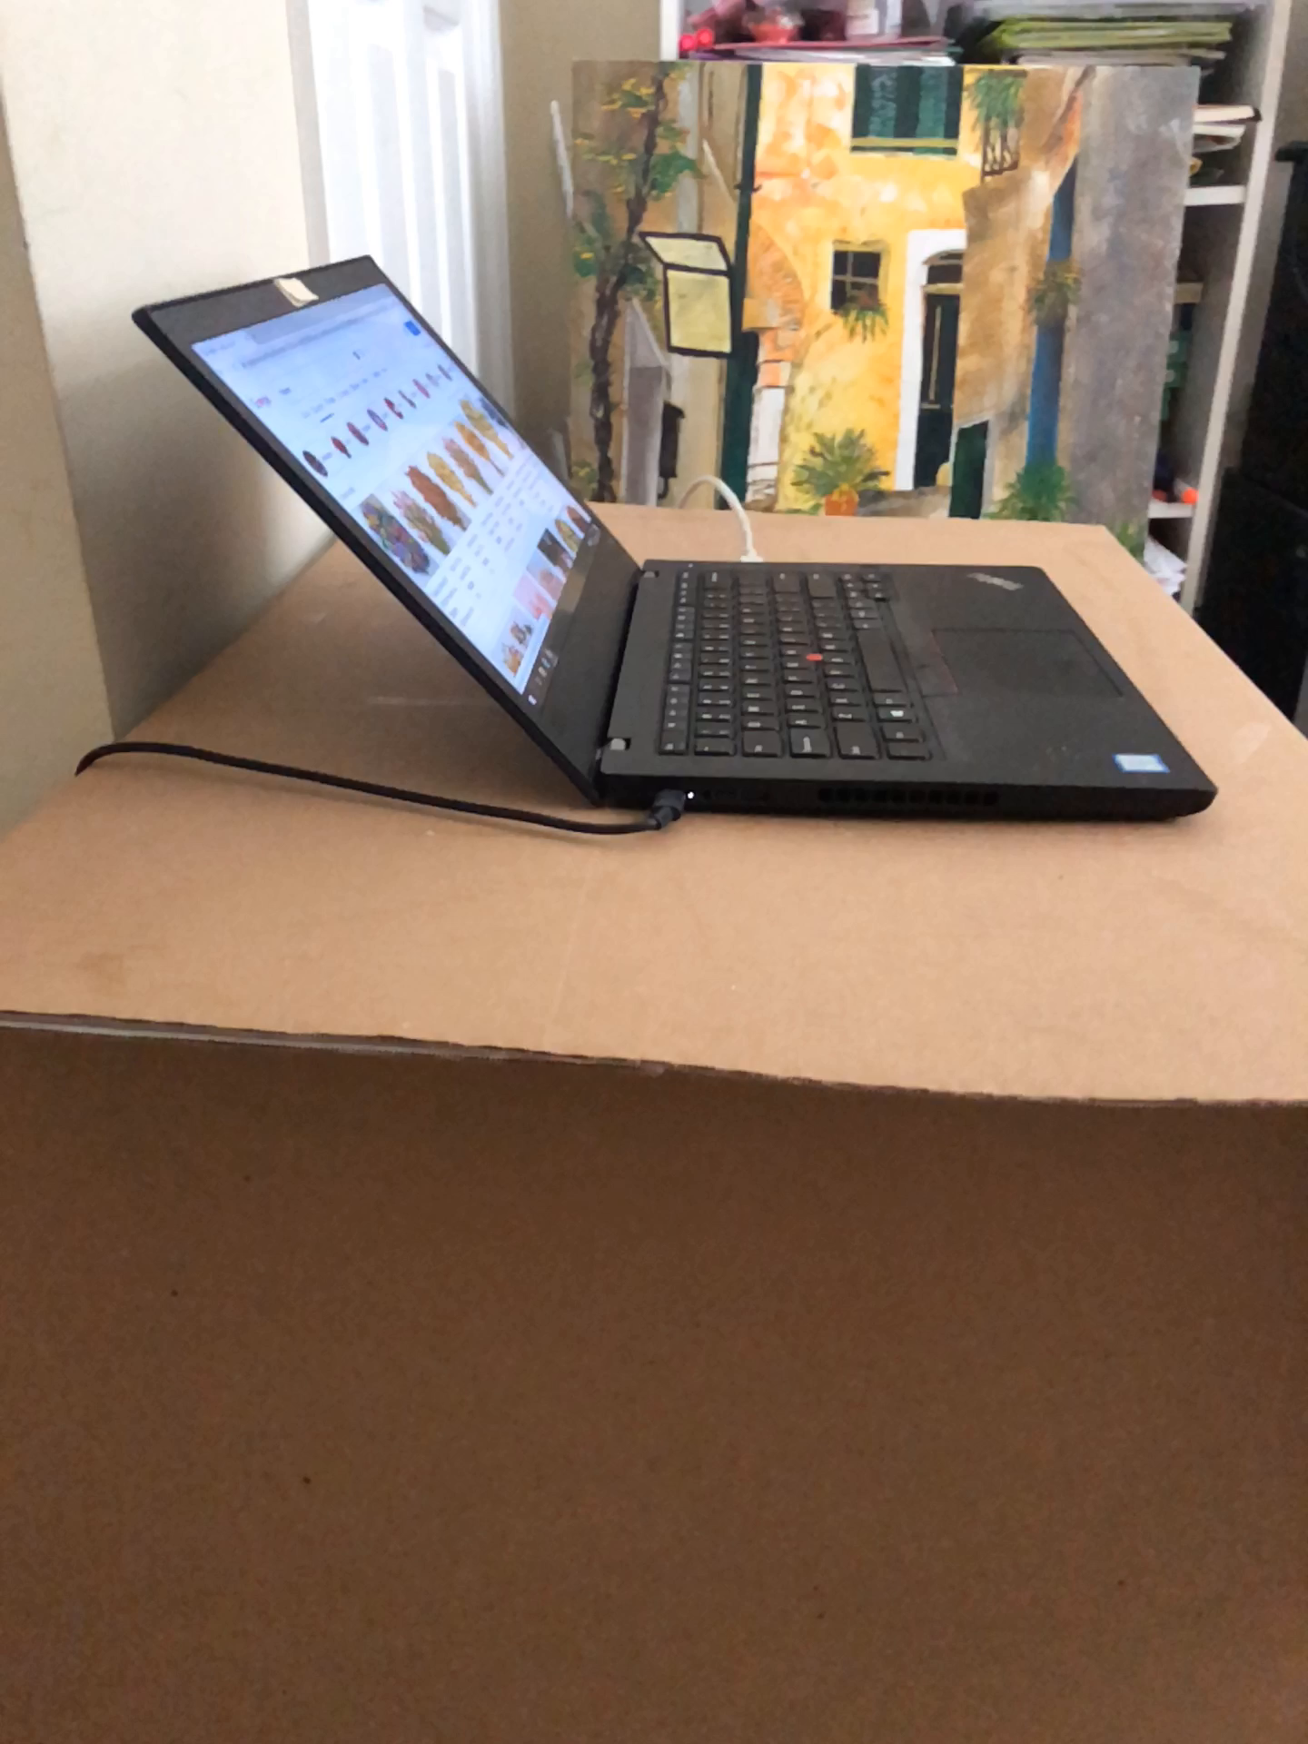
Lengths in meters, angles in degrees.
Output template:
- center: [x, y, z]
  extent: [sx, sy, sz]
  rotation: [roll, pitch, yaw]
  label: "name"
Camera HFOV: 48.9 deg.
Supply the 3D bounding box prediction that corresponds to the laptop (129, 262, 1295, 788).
- center: [0.023, -0.173, 0.630]
  extent: [0.364, 0.158, 0.324]
  rotation: [1, 25, 2]
  label: "laptop"
